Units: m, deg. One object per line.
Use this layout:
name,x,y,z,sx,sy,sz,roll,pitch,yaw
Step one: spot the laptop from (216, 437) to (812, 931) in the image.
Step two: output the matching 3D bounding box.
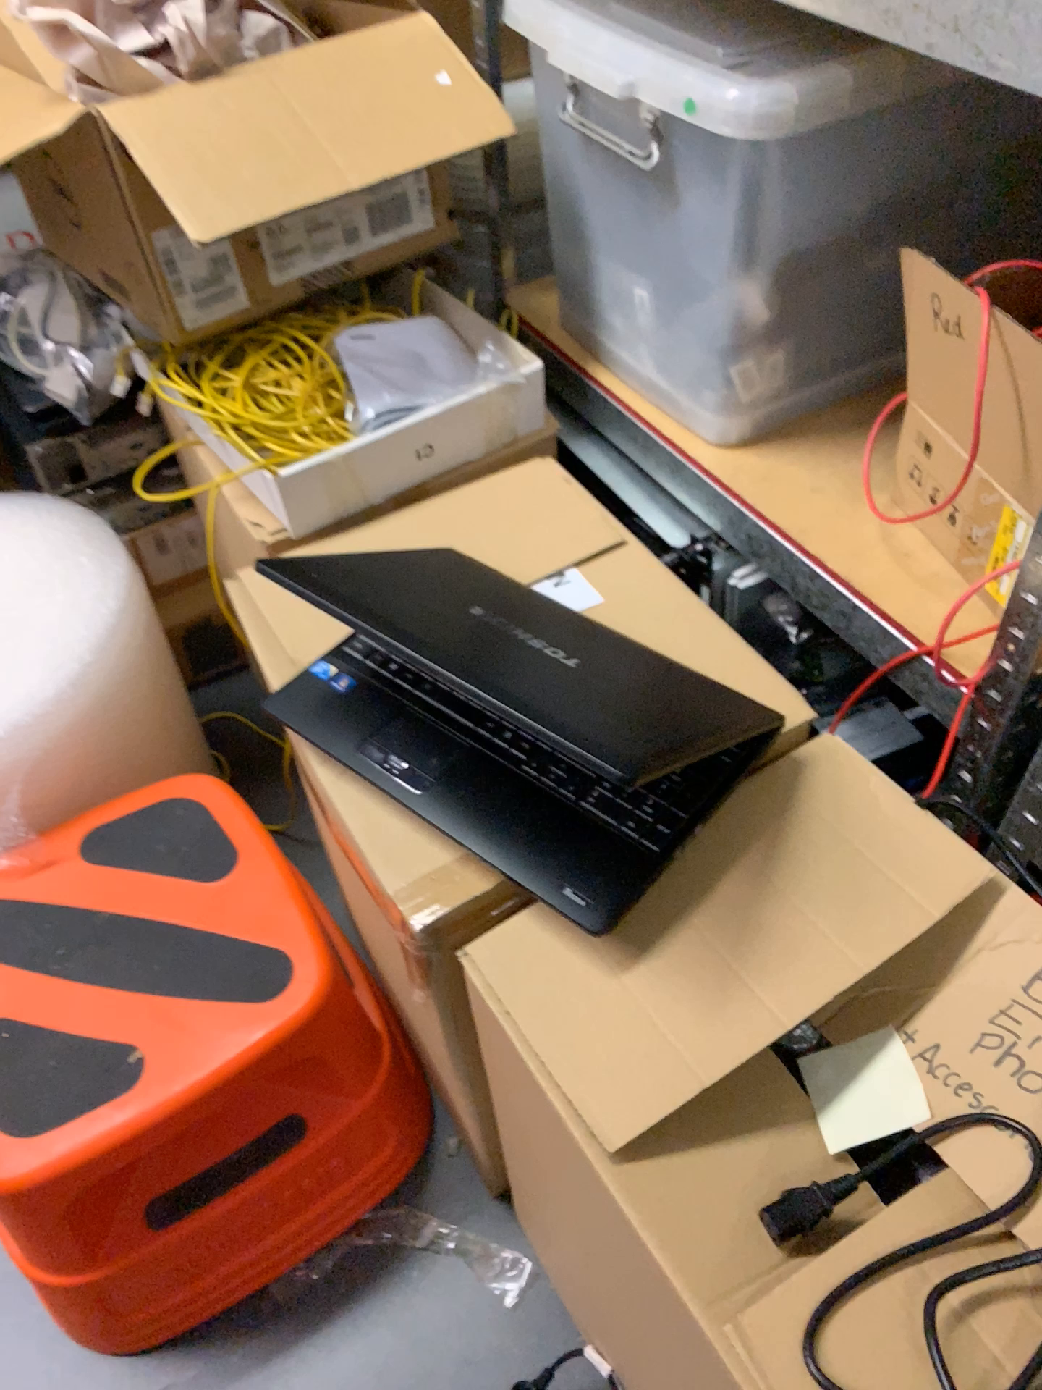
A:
laptop,-0.009,-0.027,0.829,0.355,0.135,0.231,30,57,26
